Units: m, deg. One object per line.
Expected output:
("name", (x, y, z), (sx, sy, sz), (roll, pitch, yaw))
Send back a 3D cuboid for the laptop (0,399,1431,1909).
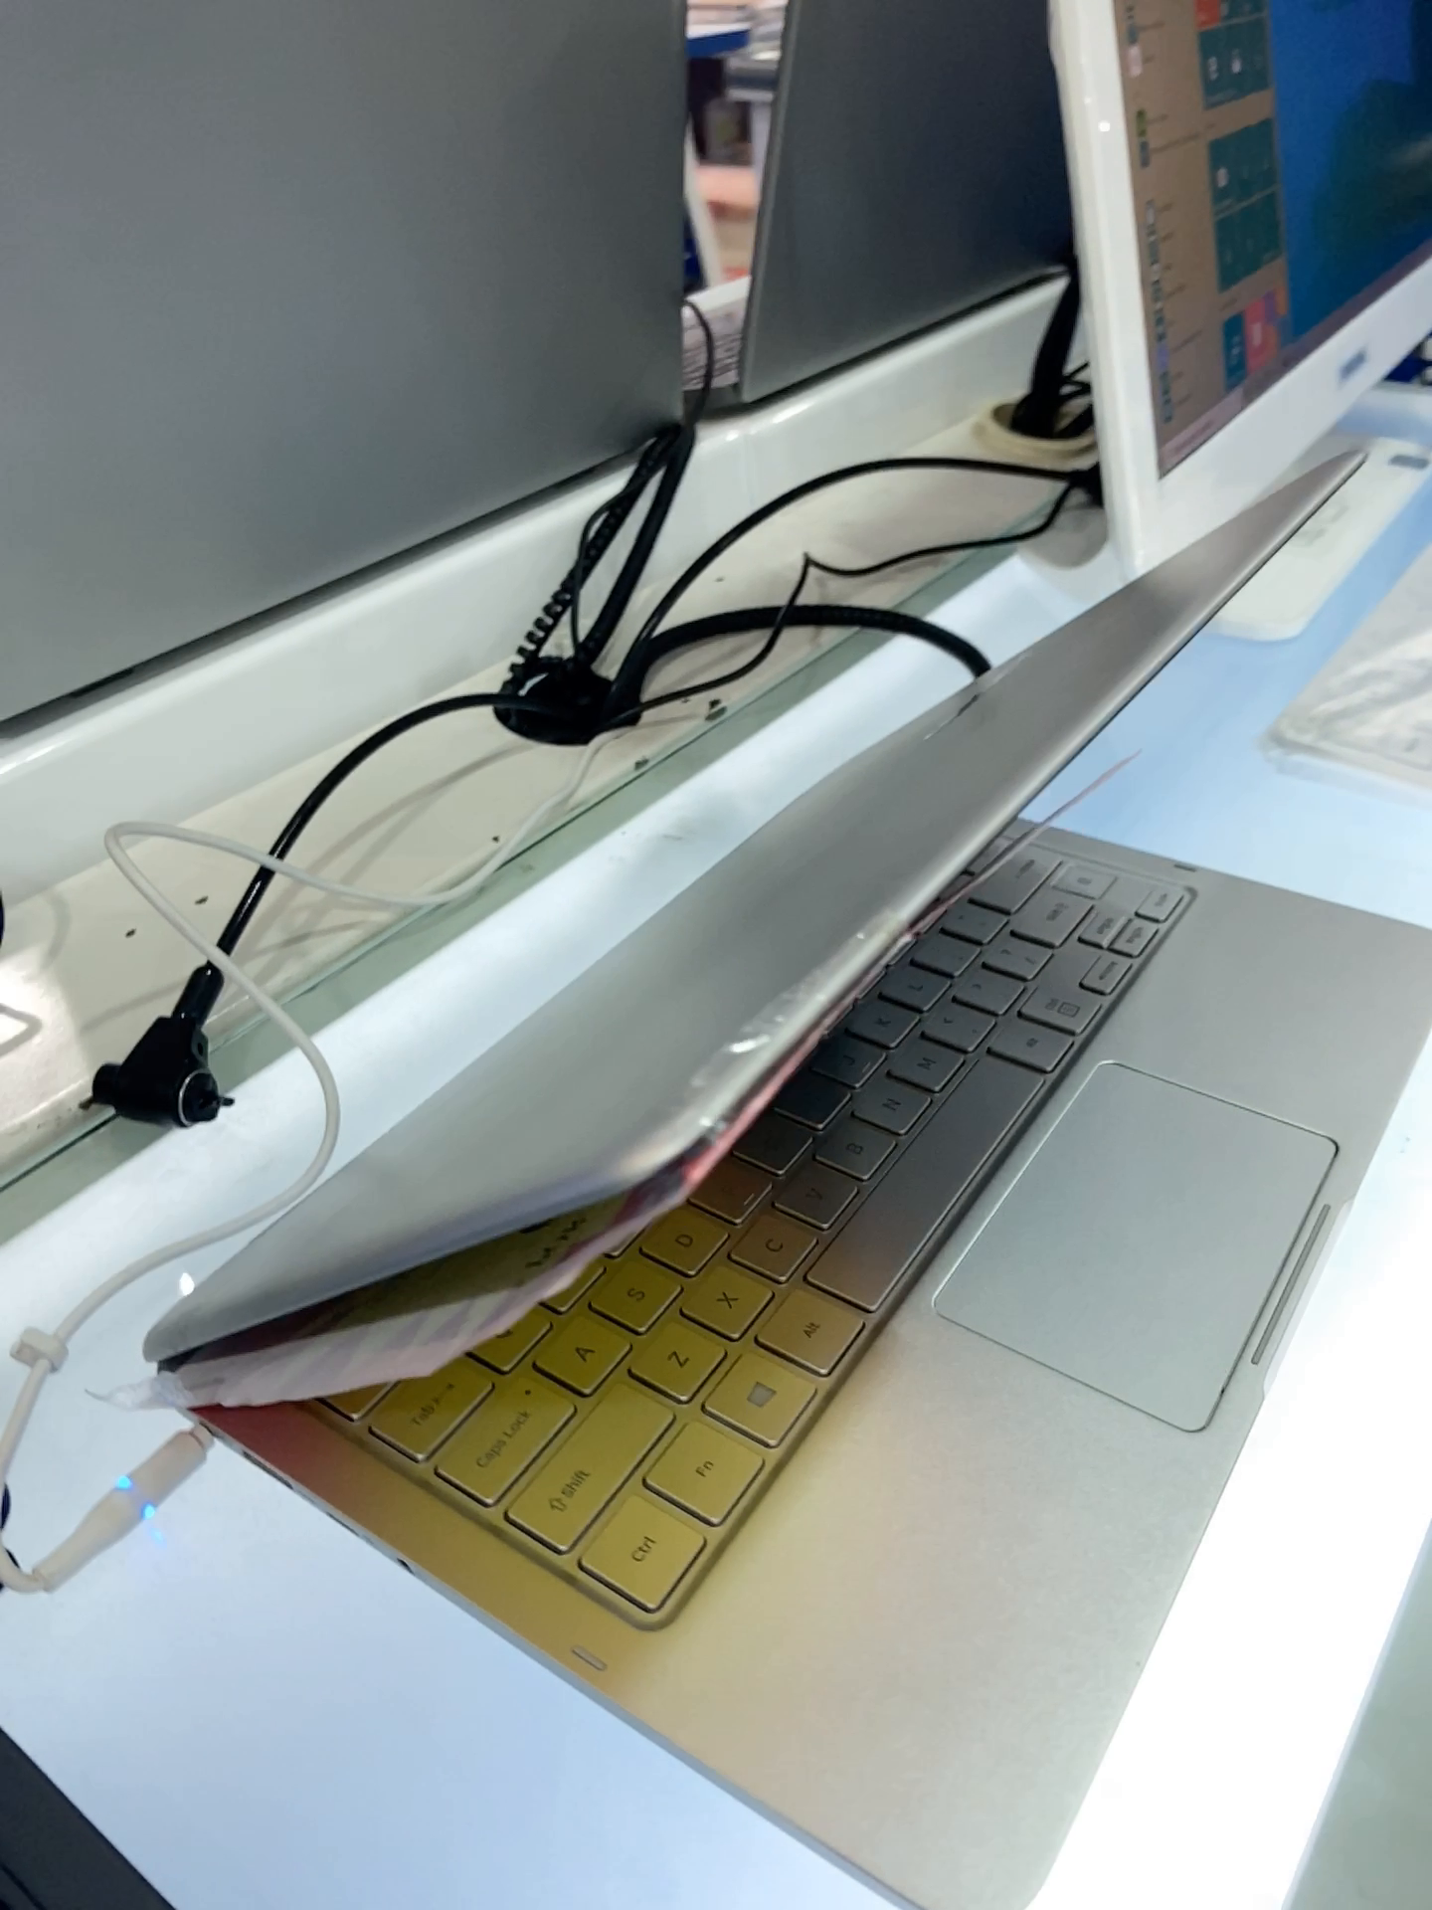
("laptop", (0.041, -0.012, 0.338), (0.201, 0.132, 0.308), (19, 40, 29))
